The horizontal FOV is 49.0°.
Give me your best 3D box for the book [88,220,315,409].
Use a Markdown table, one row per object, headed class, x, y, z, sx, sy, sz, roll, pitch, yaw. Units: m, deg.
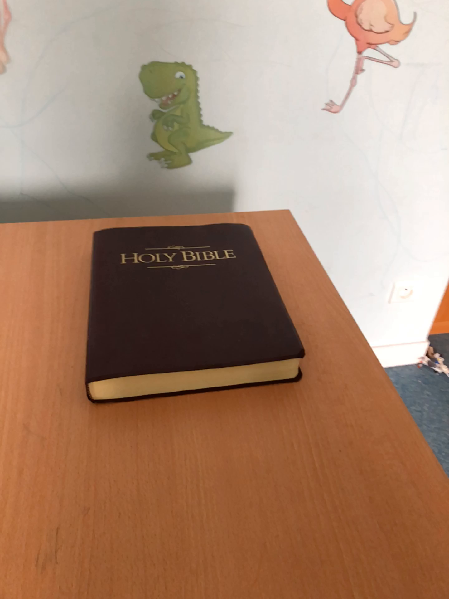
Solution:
| class | x | y | z | sx | sy | sz | roll | pitch | yaw |
| --- | --- | --- | --- | --- | --- | --- | --- | --- | --- |
| book | -0.044 | -0.004 | 0.599 | 0.223 | 0.040 | 0.282 | -4 | 39 | -10 |
